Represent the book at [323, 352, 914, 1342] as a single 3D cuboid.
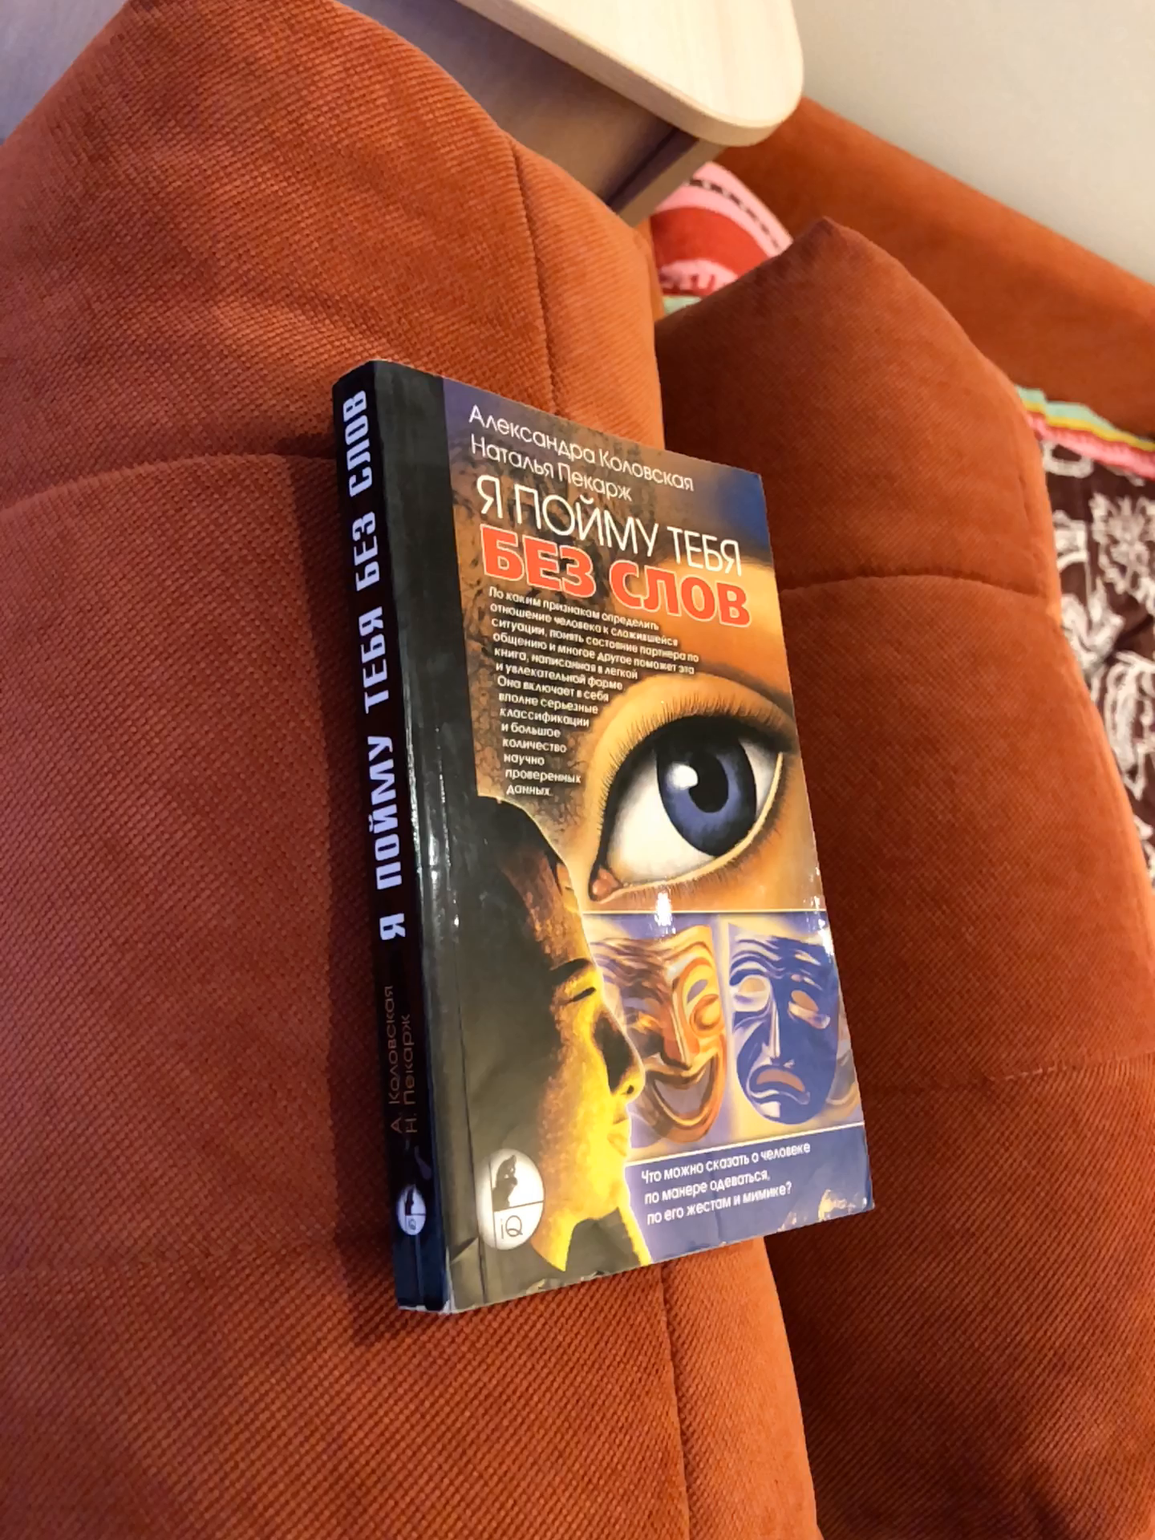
[{"bbox_3d":[0.012,0.014,0.293,0.129,0.030,0.190,5,74,-39],"label":"book"}]
